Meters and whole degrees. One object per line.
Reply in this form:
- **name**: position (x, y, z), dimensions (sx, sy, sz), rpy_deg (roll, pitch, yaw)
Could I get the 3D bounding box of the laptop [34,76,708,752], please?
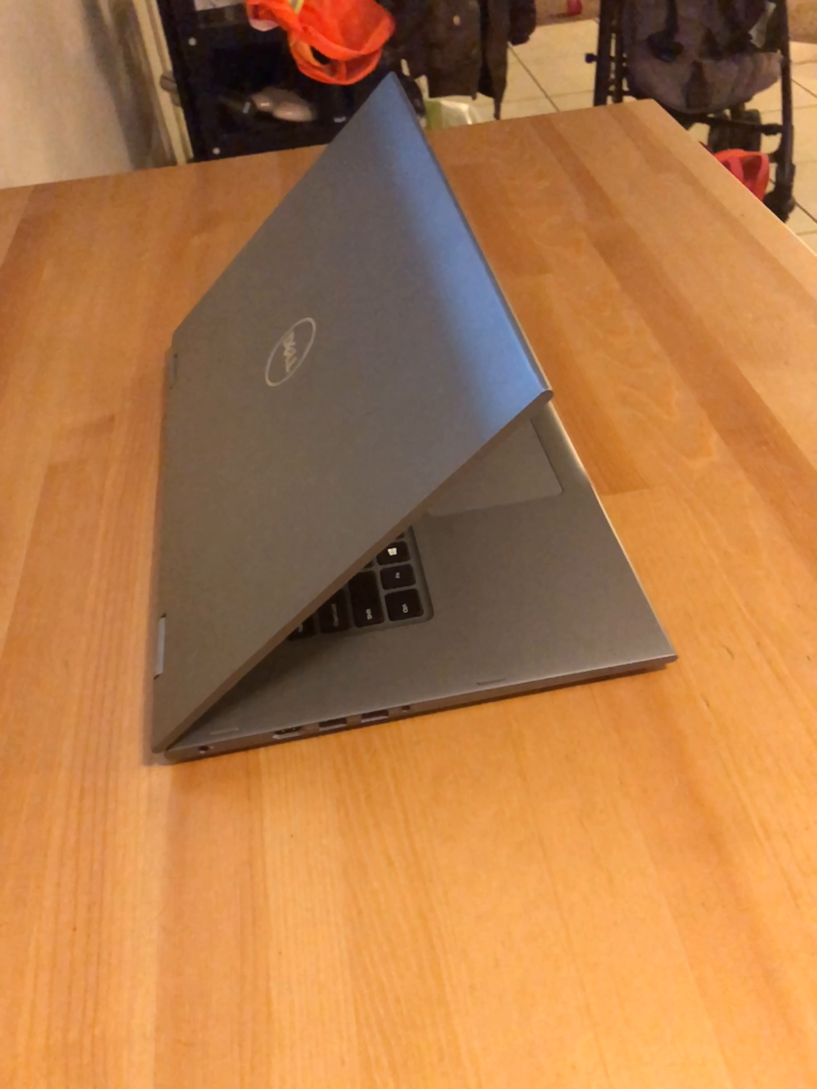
- **laptop**: position (-0.035, -0.107, 0.519), dimensions (0.246, 0.165, 0.377), rpy_deg (-10, 44, -3)
